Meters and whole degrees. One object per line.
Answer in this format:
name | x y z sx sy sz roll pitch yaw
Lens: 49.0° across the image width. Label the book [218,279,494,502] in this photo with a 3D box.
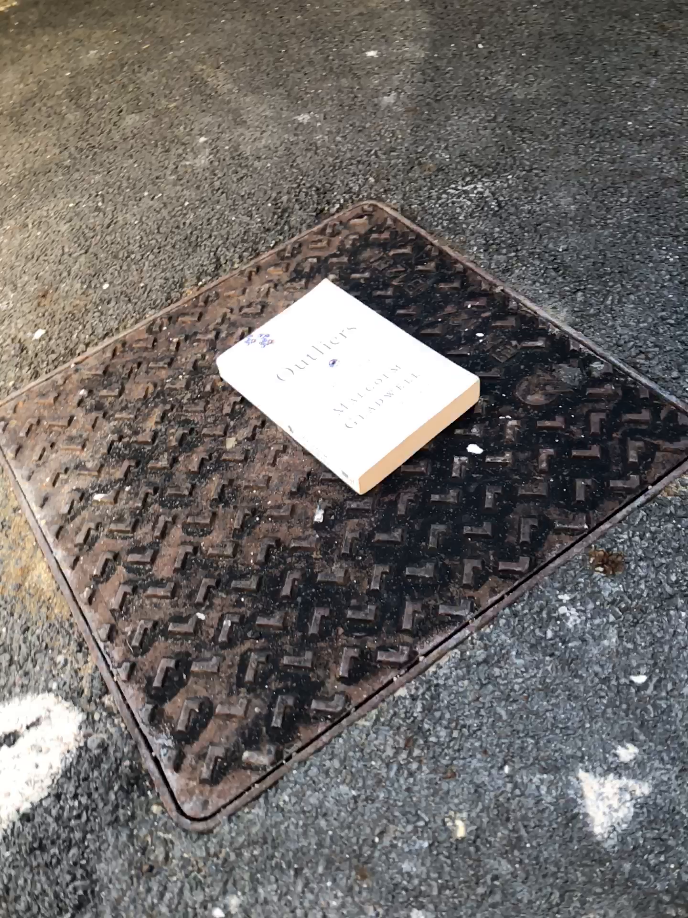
book | 0.006 -0.071 0.670 0.140 0.030 0.210 -38 54 -18
